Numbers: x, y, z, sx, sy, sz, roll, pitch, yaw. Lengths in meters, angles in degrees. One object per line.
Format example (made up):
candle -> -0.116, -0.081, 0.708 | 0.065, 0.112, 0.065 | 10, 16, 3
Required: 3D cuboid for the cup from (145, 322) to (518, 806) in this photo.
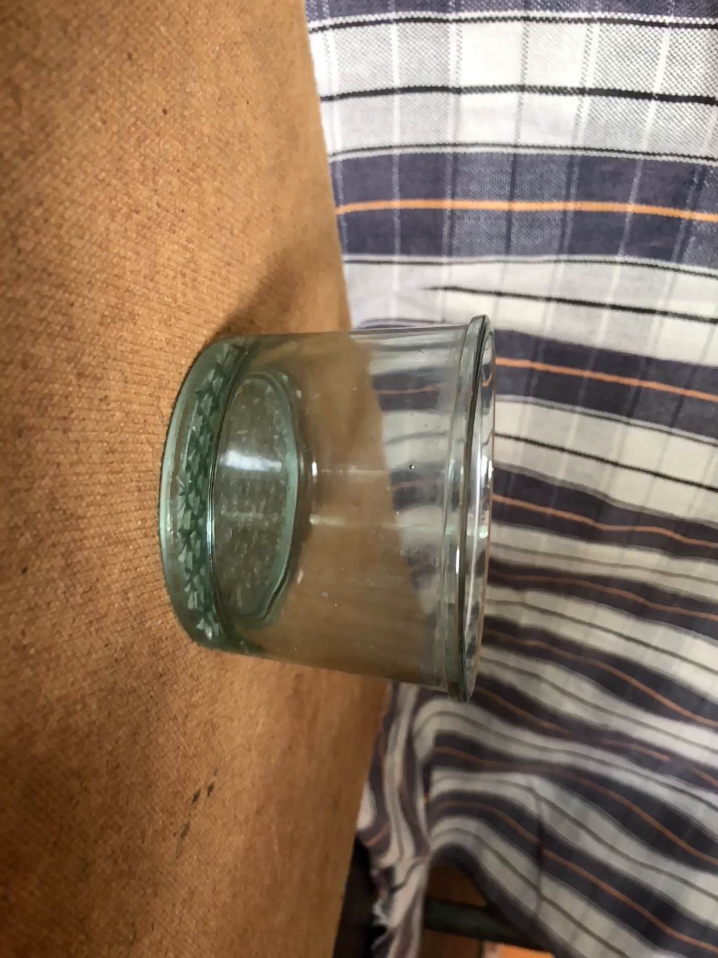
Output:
cup -> 0.002, 0.011, 0.176 | 0.070, 0.060, 0.080 | -56, 146, -68
